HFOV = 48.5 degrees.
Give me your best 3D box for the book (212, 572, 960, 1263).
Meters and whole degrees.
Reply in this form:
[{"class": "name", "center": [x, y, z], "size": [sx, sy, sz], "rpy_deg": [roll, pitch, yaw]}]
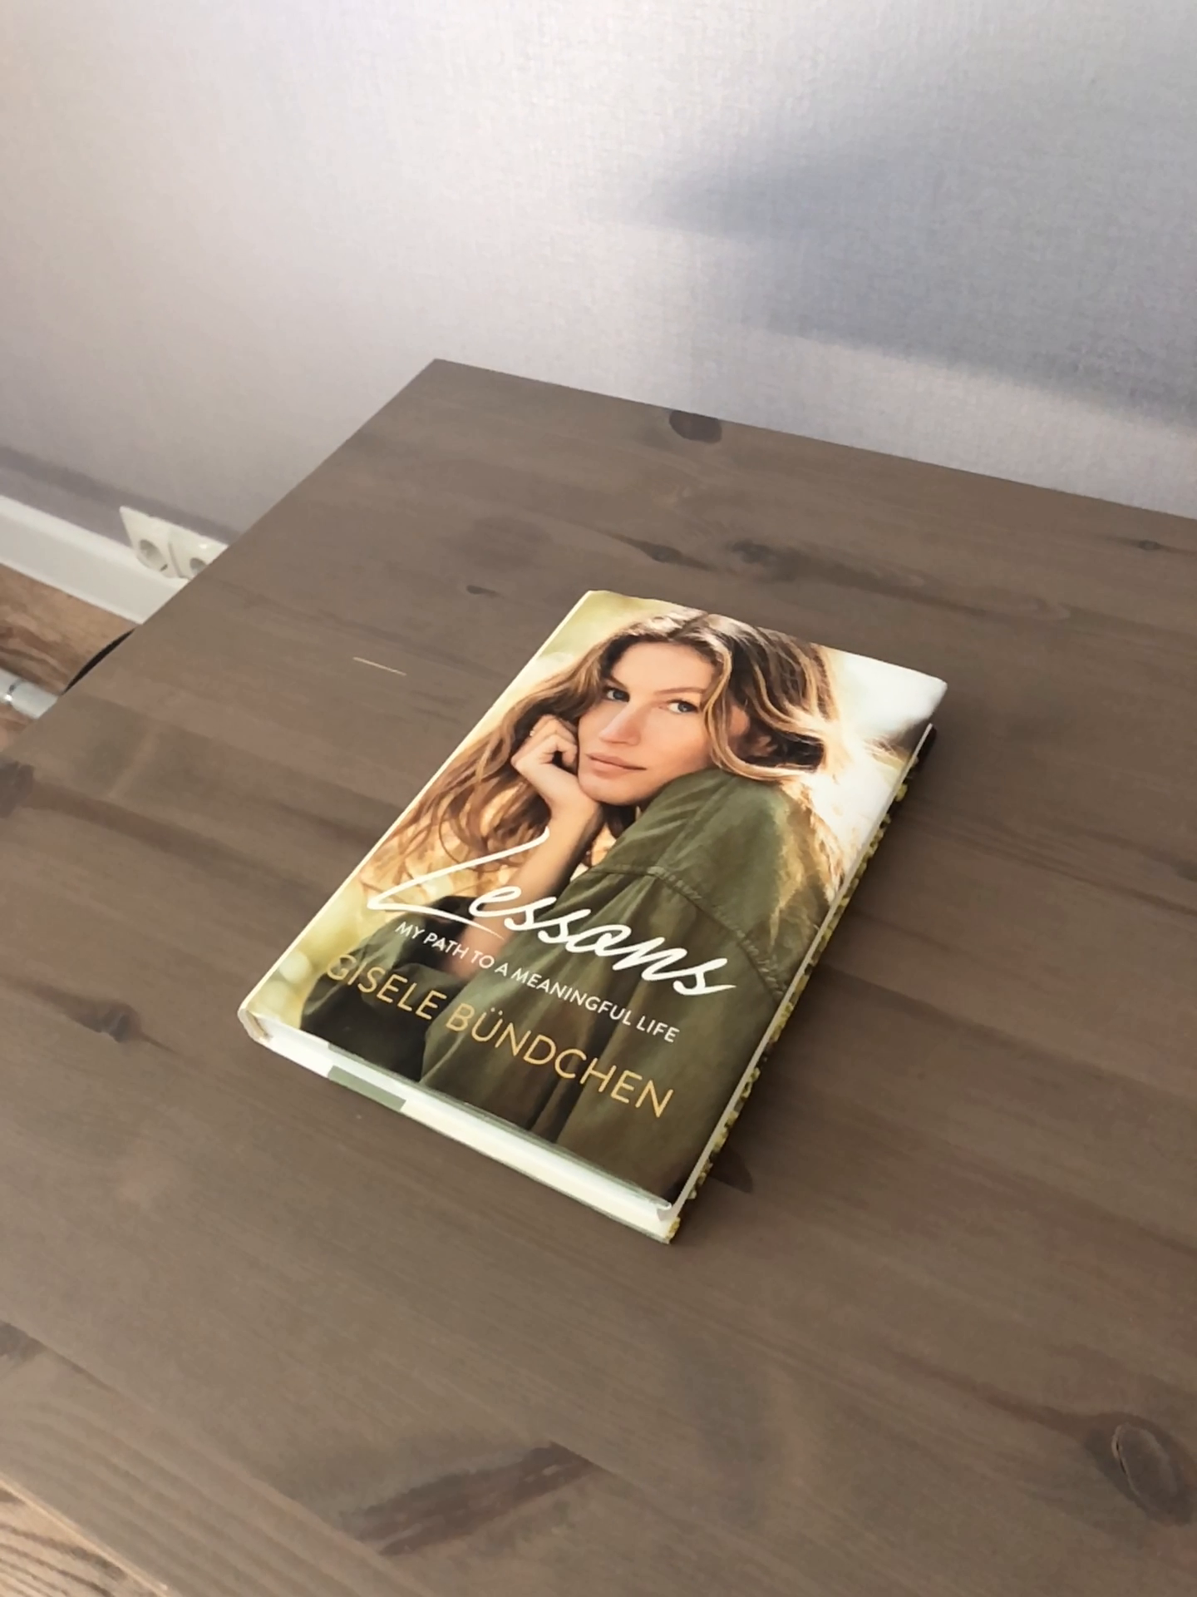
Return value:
[{"class": "book", "center": [0.007, 0.019, 0.454], "size": [0.160, 0.030, 0.228], "rpy_deg": [19, 52, 22]}]
